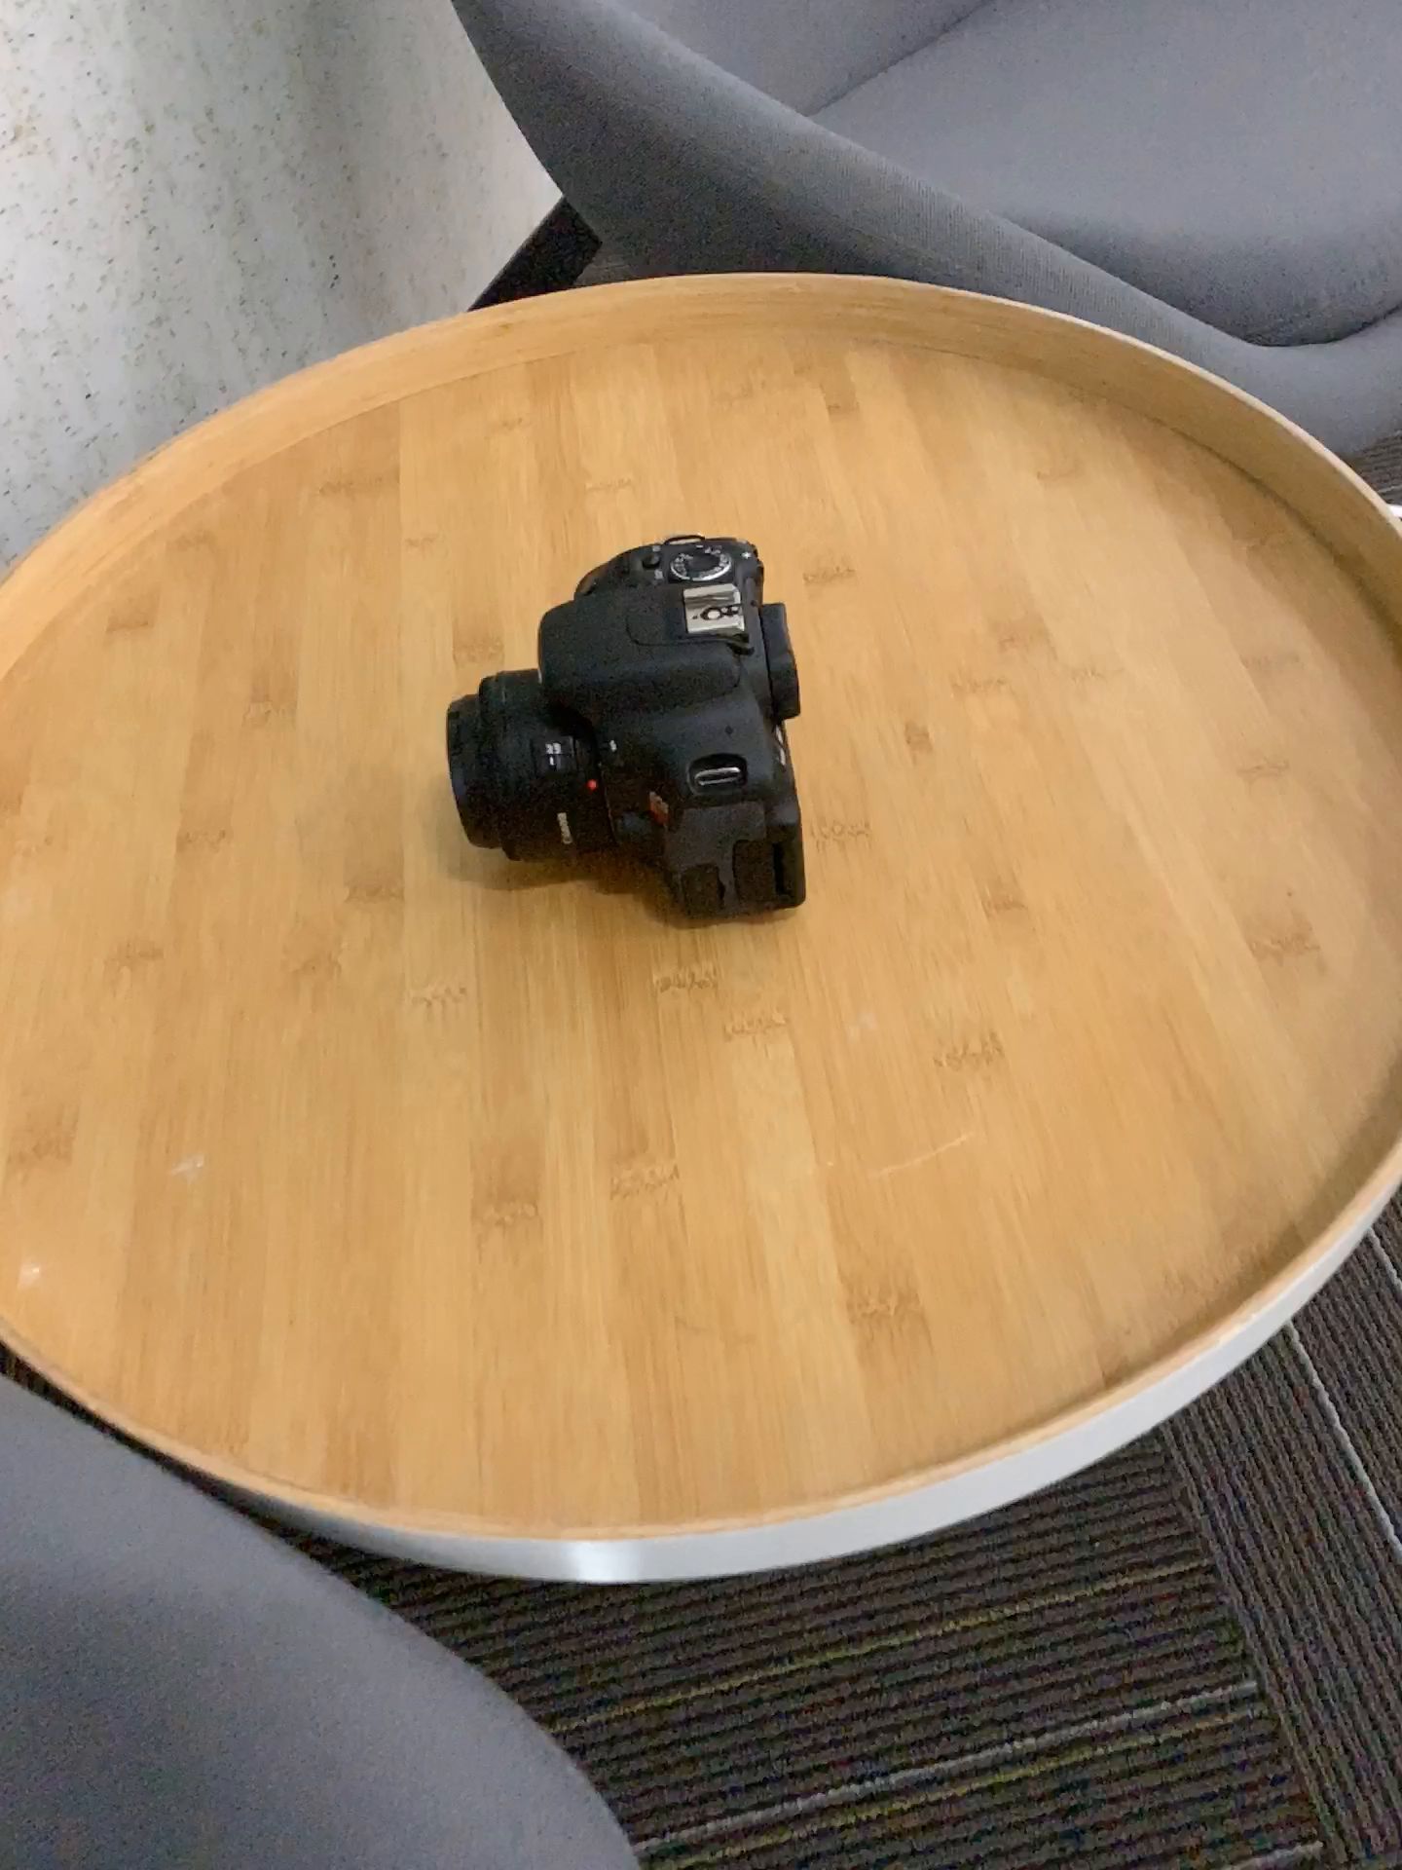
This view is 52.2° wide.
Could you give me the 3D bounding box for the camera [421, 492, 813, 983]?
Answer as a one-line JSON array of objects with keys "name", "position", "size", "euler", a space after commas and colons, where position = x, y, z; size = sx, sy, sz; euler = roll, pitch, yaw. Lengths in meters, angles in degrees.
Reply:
[{"name": "camera", "position": [-0.028, -0.072, 0.522], "size": [0.120, 0.100, 0.135], "euler": [-6, 53, 1]}]
